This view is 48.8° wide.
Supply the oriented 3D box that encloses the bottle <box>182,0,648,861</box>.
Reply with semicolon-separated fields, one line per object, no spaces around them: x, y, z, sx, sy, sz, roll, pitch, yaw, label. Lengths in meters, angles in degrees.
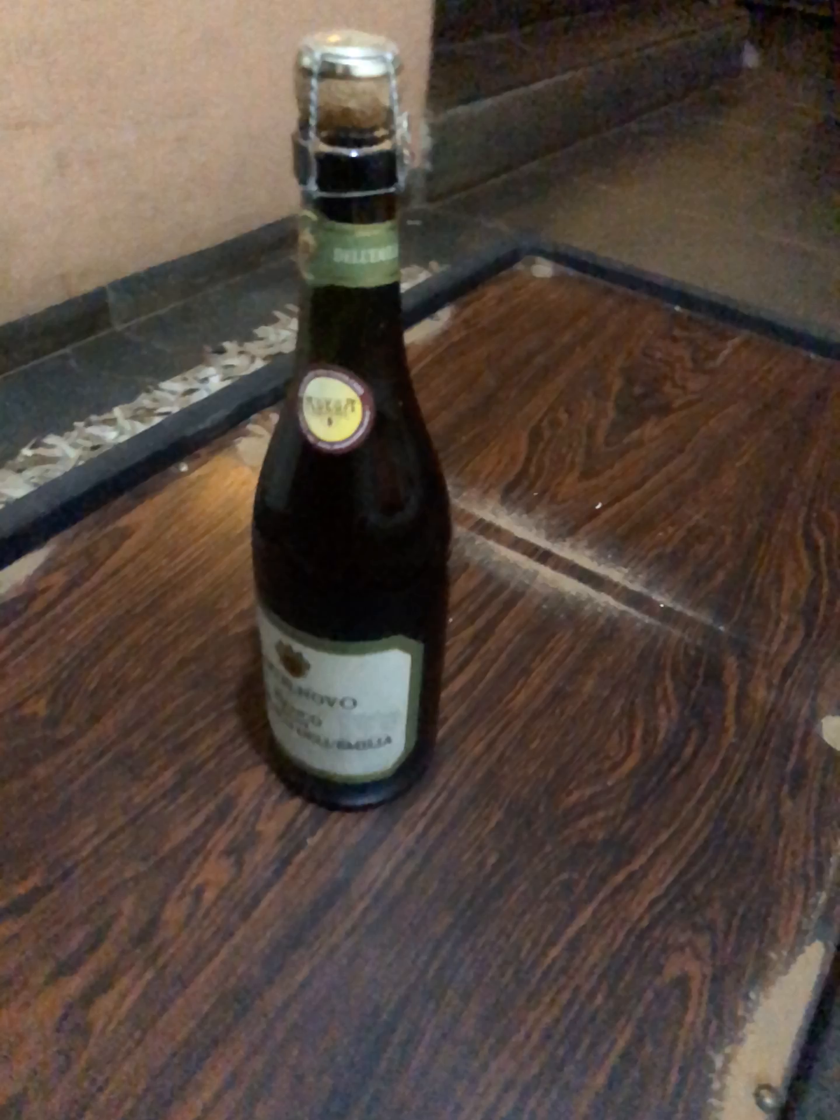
-0.014;-0.029;0.345;0.090;0.298;0.090;4;39;-3;bottle
